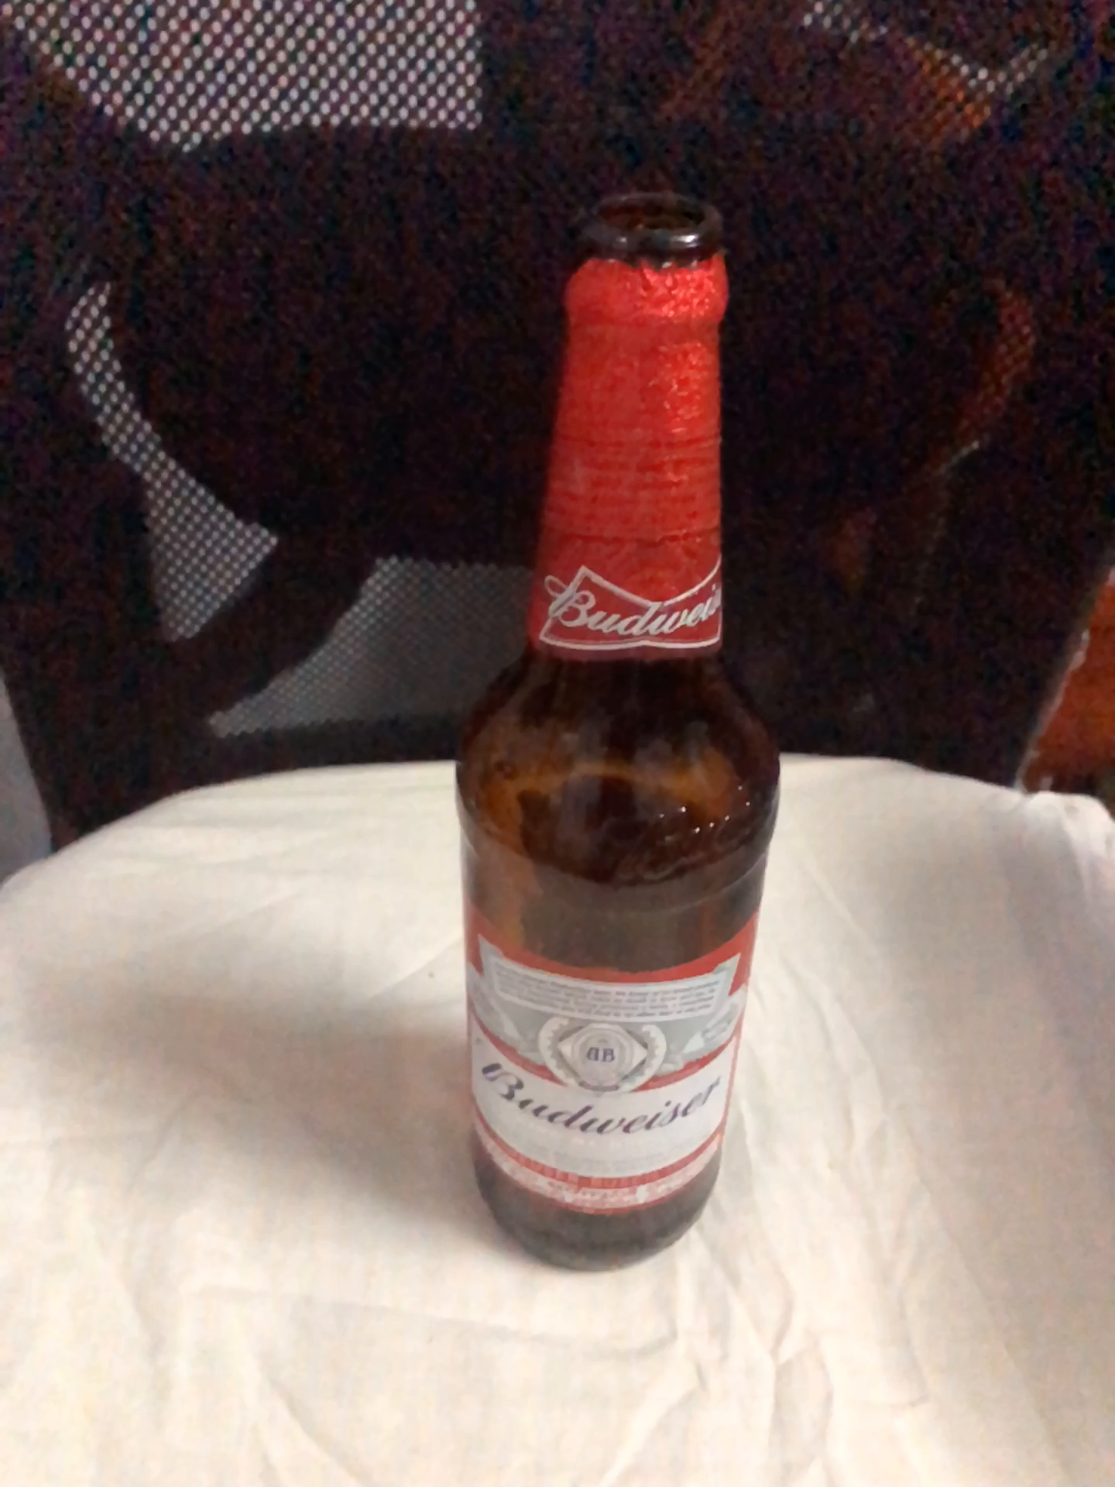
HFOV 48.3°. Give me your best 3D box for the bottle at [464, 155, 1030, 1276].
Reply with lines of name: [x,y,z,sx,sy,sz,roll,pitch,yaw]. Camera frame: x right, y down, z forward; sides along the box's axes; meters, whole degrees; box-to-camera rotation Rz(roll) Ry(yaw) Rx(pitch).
bottle: [0.020,0.022,0.292,0.080,0.278,0.070,1,40,-3]
